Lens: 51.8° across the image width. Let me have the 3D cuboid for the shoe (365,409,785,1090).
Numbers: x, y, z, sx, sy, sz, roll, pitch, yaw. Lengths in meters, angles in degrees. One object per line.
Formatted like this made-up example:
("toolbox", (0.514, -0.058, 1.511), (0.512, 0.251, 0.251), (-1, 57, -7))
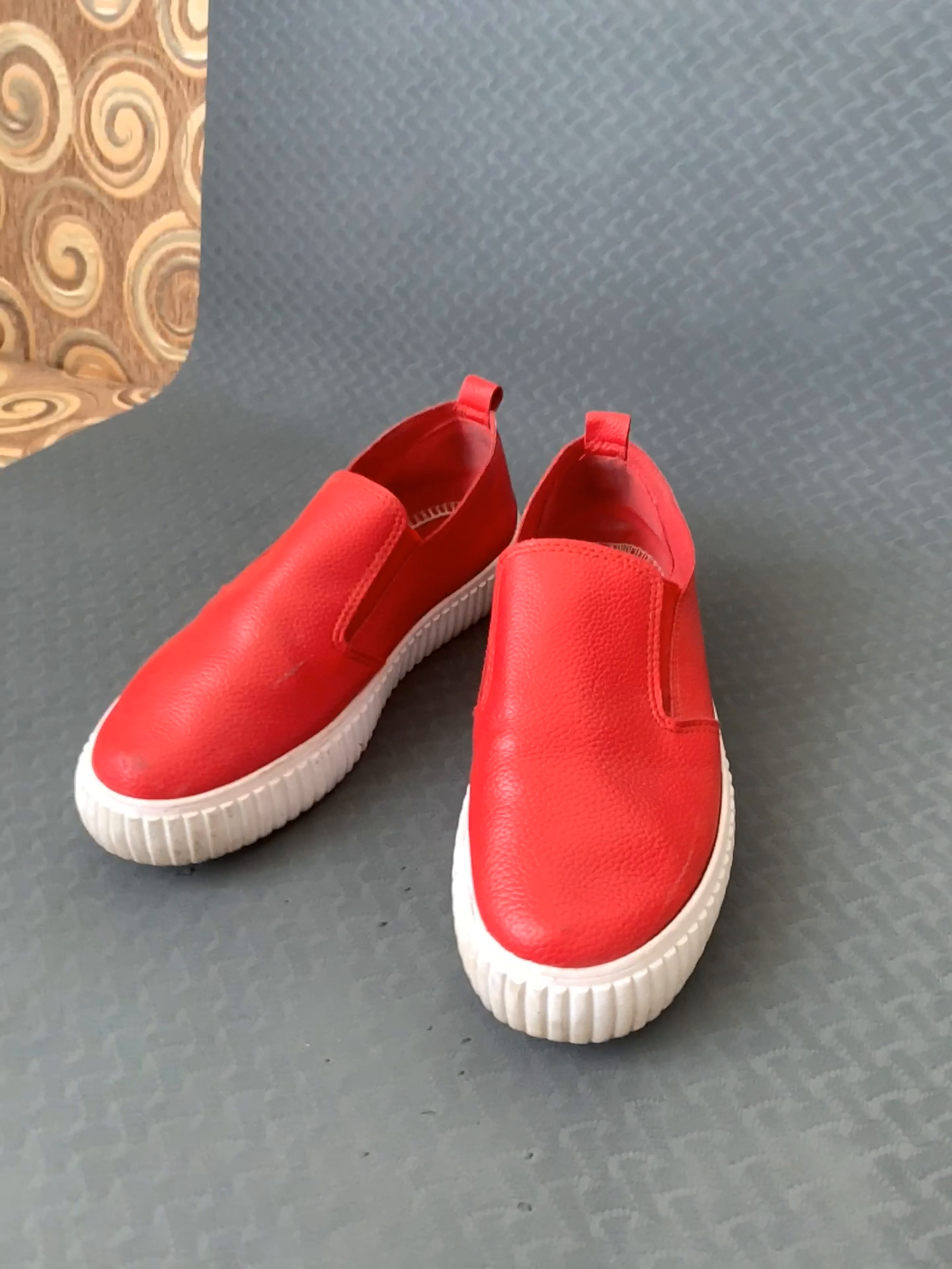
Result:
("shoe", (0.039, 0.014, 0.335), (0.095, 0.070, 0.241), (4, 41, 8))

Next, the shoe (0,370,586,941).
("shoe", (-0.061, -0.013, 0.381), (0.095, 0.070, 0.241), (23, 47, 27))
